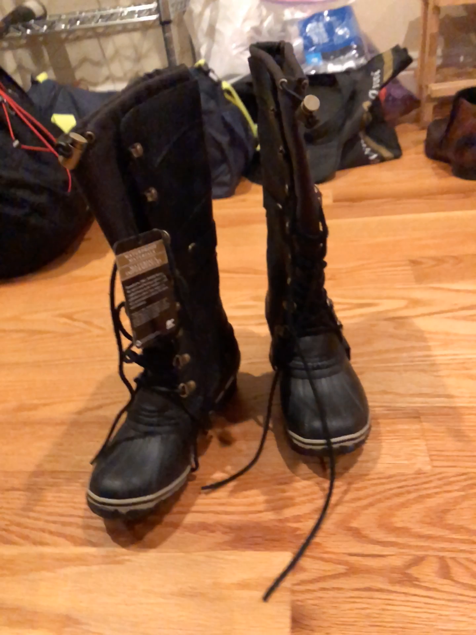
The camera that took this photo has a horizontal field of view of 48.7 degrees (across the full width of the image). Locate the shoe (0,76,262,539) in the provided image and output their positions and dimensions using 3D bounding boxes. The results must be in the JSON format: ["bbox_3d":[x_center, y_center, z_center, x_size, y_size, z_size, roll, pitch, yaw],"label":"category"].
[{"bbox_3d":[-0.083,-0.021,0.472,0.100,0.308,0.261,7,35,22],"label":"shoe"}]

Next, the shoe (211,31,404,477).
[{"bbox_3d":[0.054,-0.070,0.499,0.100,0.328,0.262,-9,33,-1],"label":"shoe"}]
